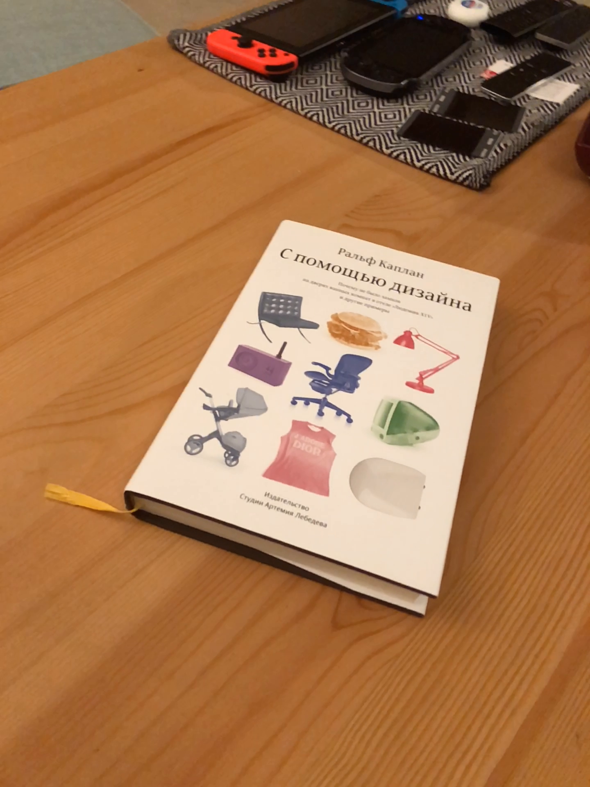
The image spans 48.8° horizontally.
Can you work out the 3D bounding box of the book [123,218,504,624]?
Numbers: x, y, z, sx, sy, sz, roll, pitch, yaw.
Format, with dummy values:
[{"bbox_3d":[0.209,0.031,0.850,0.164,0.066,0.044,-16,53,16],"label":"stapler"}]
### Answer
[{"bbox_3d":[0.026,-0.005,0.377,0.152,0.034,0.227,17,51,9],"label":"book"}]
